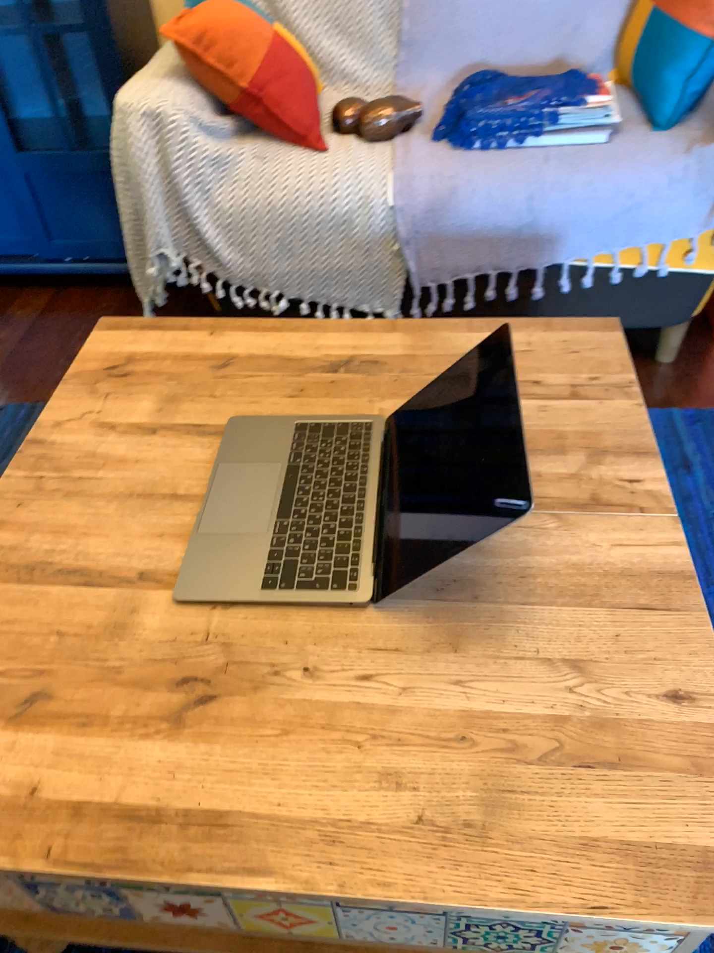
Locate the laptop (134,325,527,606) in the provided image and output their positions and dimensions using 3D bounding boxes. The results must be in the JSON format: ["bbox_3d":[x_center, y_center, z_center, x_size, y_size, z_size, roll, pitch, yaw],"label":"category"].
[{"bbox_3d":[-0.015,-0.025,0.806,0.353,0.141,0.292,1,44,6],"label":"laptop"}]
